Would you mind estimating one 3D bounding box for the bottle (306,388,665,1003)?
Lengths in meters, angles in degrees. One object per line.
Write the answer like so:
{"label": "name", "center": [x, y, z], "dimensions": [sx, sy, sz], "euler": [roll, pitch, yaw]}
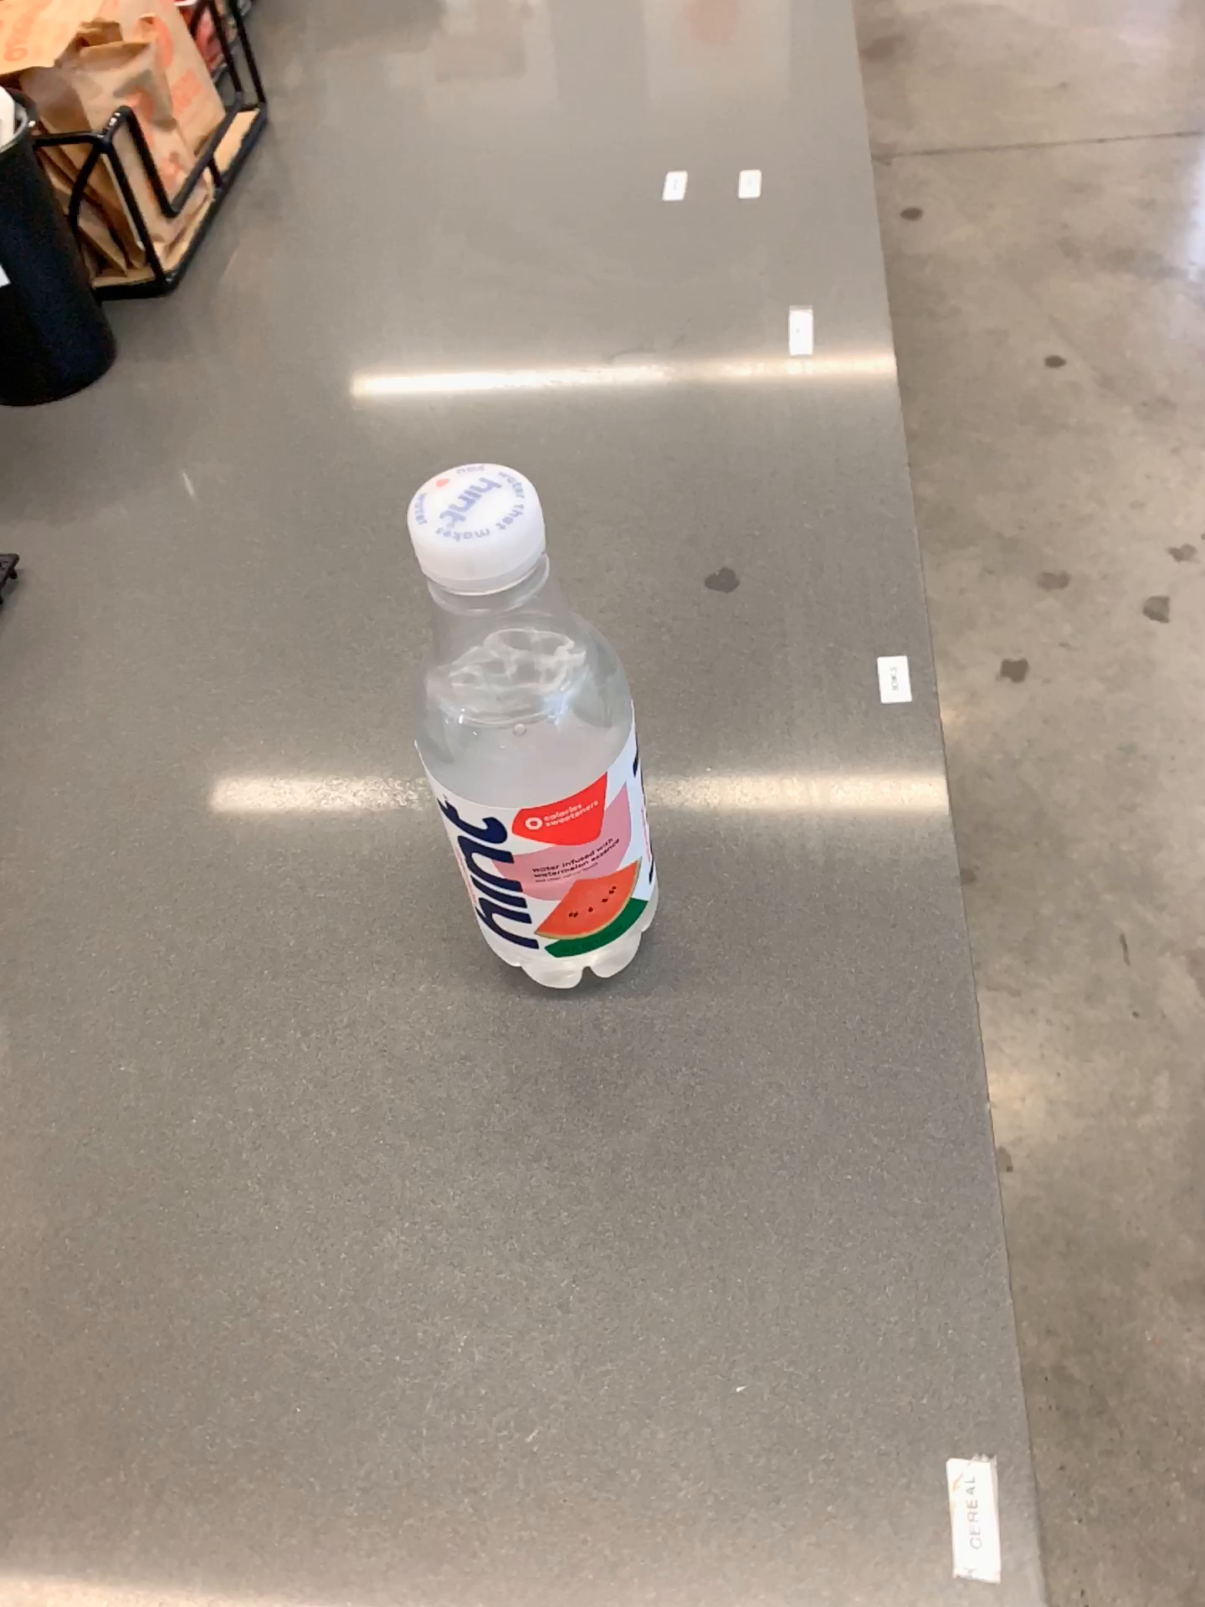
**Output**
{"label": "bottle", "center": [-0.023, -0.019, 0.386], "dimensions": [0.070, 0.199, 0.070], "euler": [-4, 52, 5]}
